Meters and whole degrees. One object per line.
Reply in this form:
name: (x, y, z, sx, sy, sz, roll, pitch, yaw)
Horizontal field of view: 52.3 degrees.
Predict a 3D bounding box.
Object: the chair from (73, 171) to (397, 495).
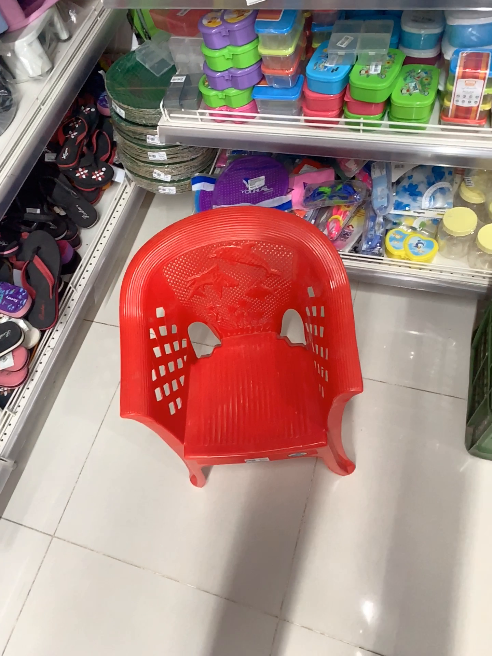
chair: (0.011, 0.053, 1.082, 0.500, 0.479, 0.491, -6, 61, 9)
